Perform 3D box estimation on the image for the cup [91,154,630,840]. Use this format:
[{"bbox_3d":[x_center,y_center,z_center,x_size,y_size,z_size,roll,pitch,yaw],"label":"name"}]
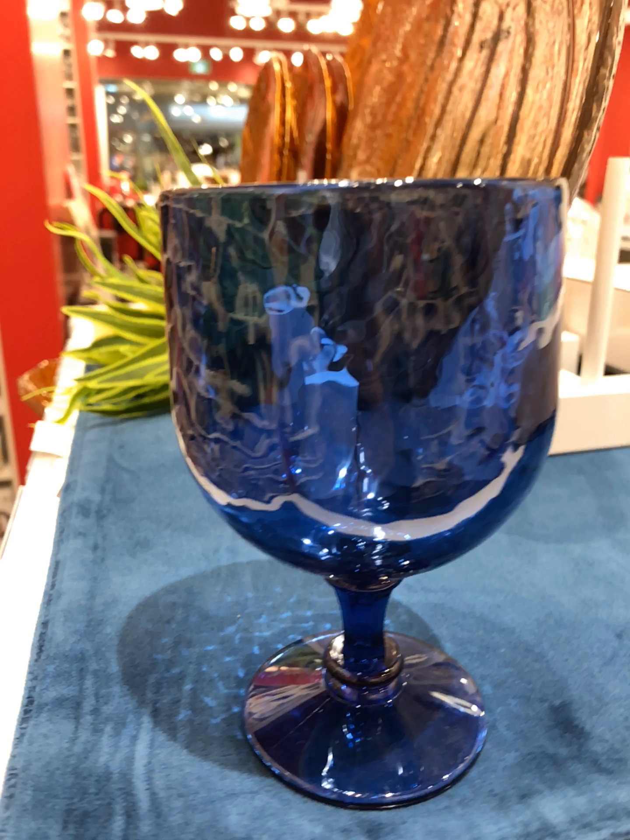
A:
[{"bbox_3d":[0.009,0.012,0.171,0.090,0.140,0.080,-11,21,-28],"label":"cup"}]
